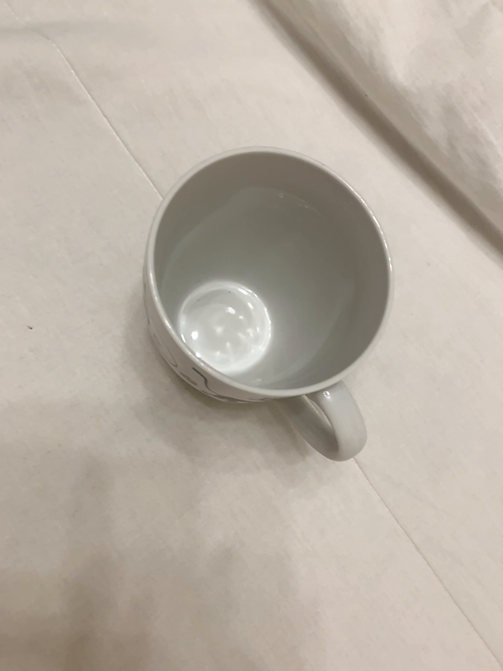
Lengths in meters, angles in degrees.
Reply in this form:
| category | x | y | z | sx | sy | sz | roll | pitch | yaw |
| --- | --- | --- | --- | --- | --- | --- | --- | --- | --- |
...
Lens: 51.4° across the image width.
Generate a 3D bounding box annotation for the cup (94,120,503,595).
| category | x | y | z | sx | sy | sz | roll | pitch | yaw |
| --- | --- | --- | --- | --- | --- | --- | --- | --- | --- |
| cup | 0.008 | 0.007 | 0.189 | 0.081 | 0.077 | 0.119 | -23 | 82 | -16 |
